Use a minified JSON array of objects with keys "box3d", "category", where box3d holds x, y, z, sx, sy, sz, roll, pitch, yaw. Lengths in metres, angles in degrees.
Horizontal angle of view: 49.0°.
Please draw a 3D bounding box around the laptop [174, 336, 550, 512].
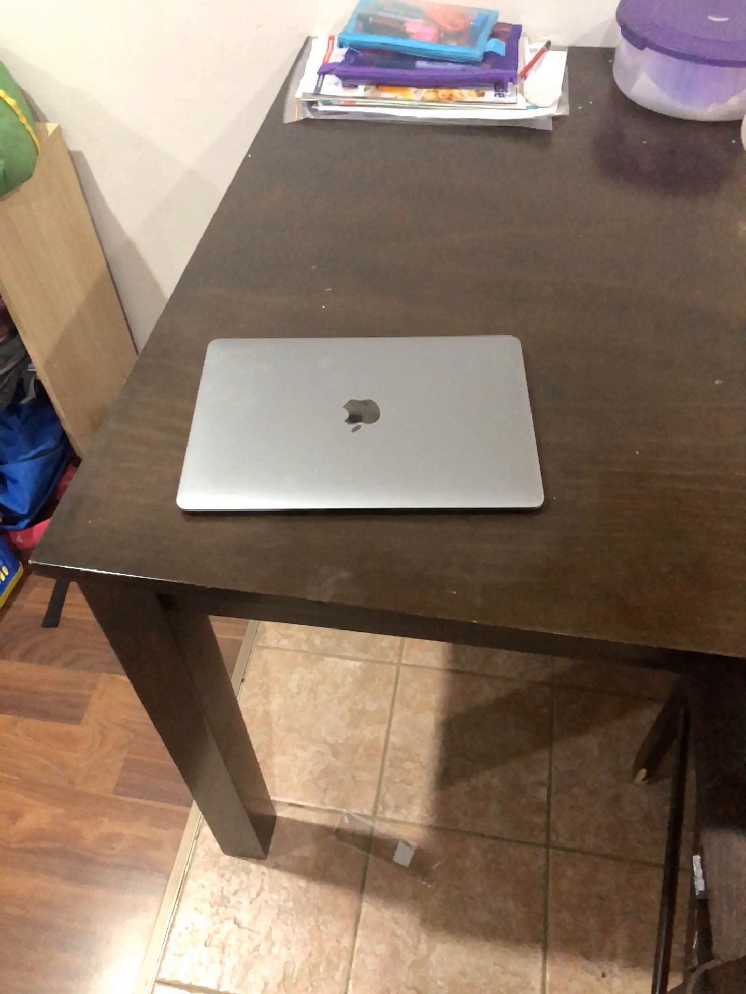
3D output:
[{"box3d":[-0.007,-0.066,0.663,0.275,0.002,0.196,0,50,-1],"category":"laptop"}]
